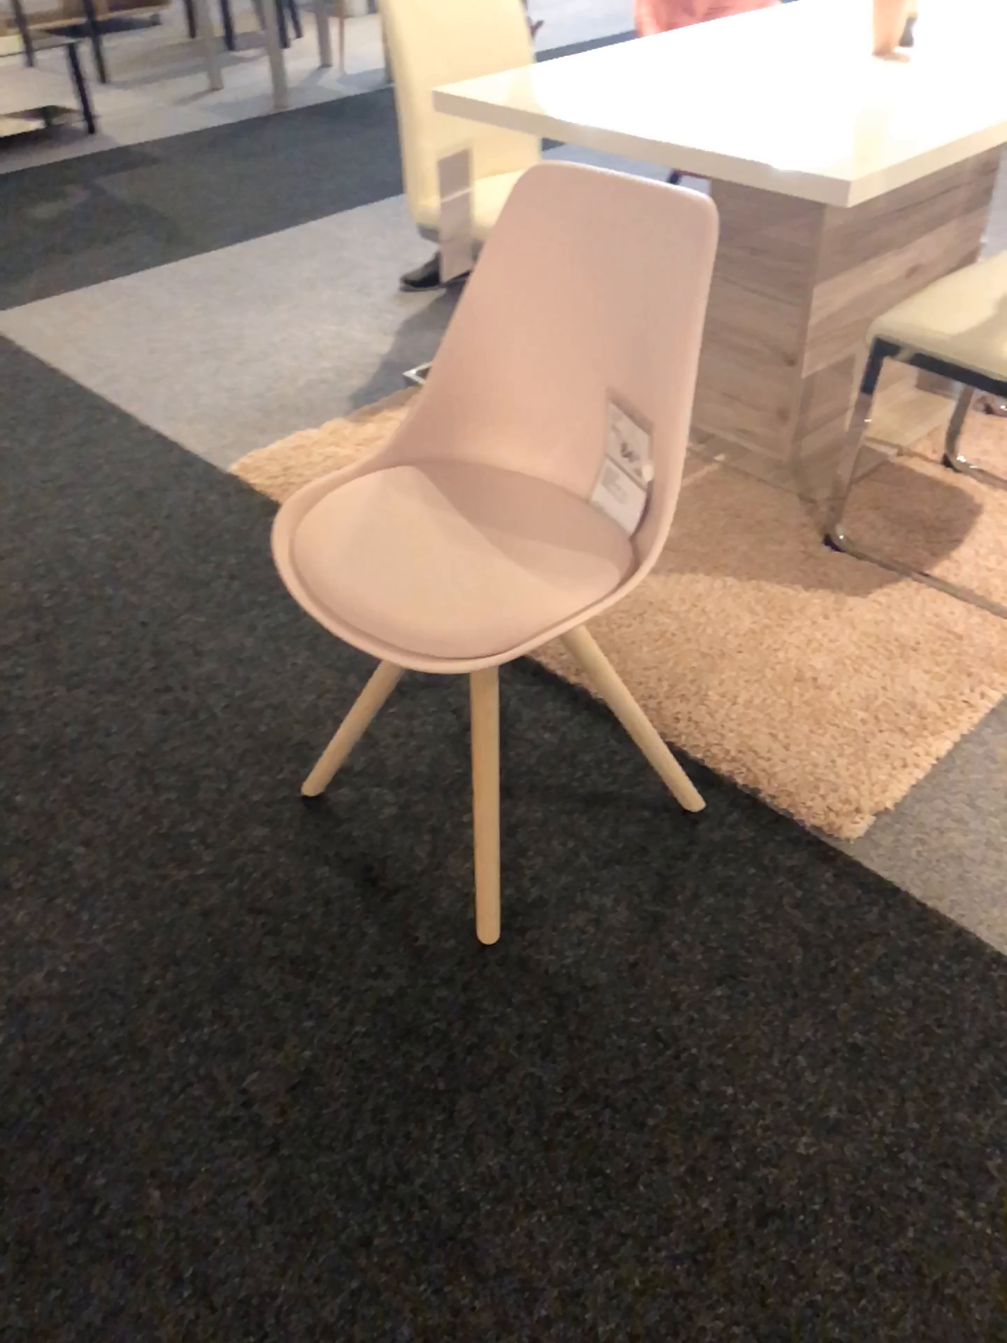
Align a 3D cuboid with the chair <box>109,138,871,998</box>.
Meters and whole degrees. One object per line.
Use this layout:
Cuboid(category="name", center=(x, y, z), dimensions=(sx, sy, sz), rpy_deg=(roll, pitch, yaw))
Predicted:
Cuboid(category="chair", center=(-0.009, -0.161, 1.398), dimensions=(0.563, 0.765, 0.571), rpy_deg=(-32, 47, -32))
